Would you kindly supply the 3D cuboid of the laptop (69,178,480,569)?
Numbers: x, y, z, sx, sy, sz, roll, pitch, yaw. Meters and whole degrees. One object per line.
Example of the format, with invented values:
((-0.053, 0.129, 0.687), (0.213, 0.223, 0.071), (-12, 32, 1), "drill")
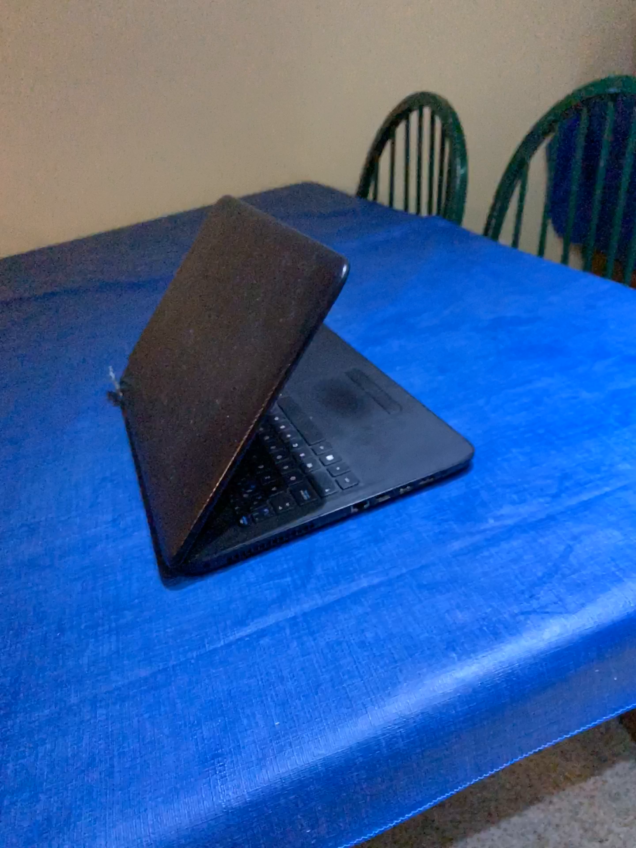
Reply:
((-0.067, -0.090, 0.603), (0.252, 0.167, 0.373), (-19, 31, -13), "laptop")
